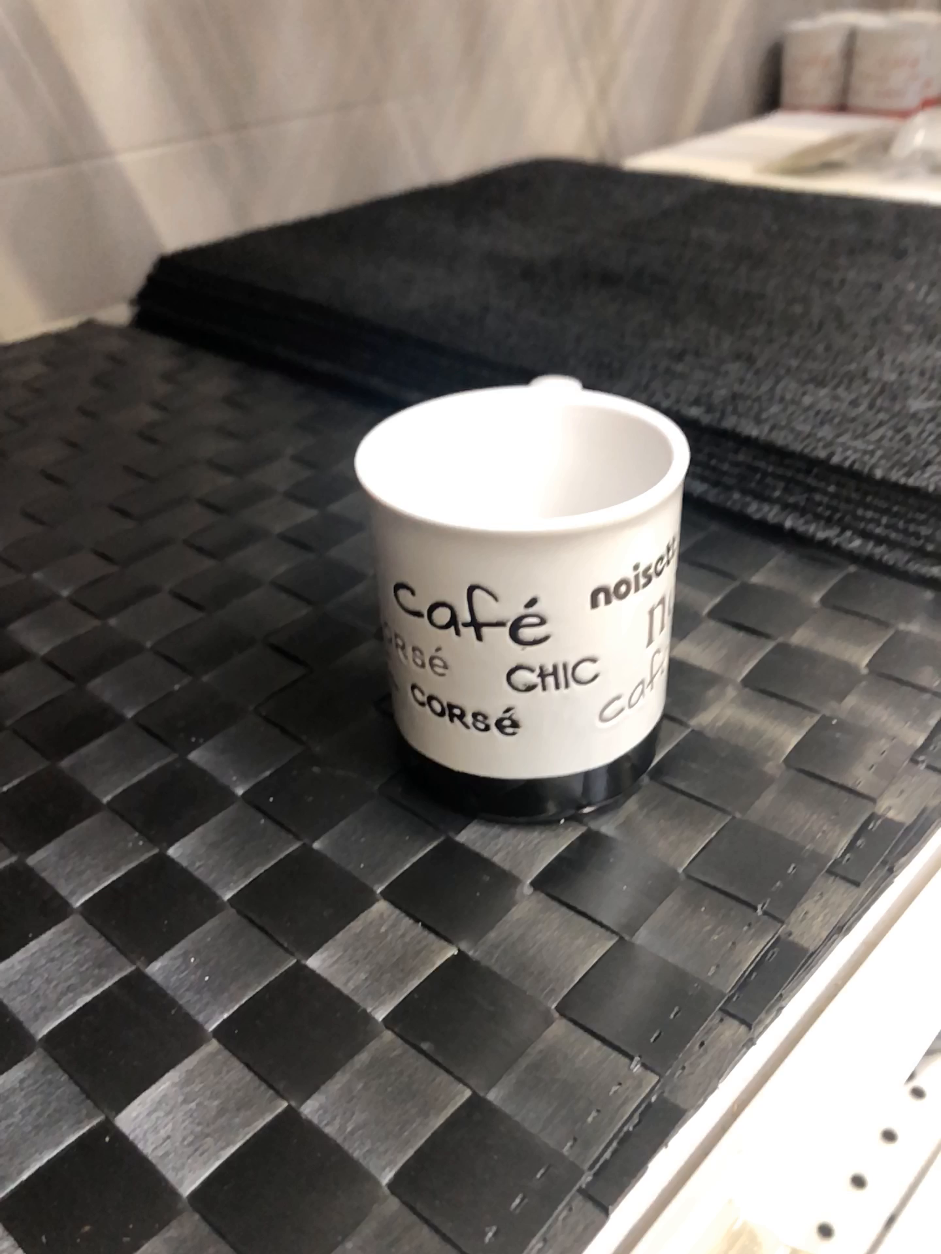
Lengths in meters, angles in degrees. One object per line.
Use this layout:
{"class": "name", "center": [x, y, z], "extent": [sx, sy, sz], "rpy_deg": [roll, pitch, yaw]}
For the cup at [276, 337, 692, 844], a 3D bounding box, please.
{"class": "cup", "center": [0.011, -0.014, 0.227], "extent": [0.067, 0.066, 0.093], "rpy_deg": [4, 35, 10]}
